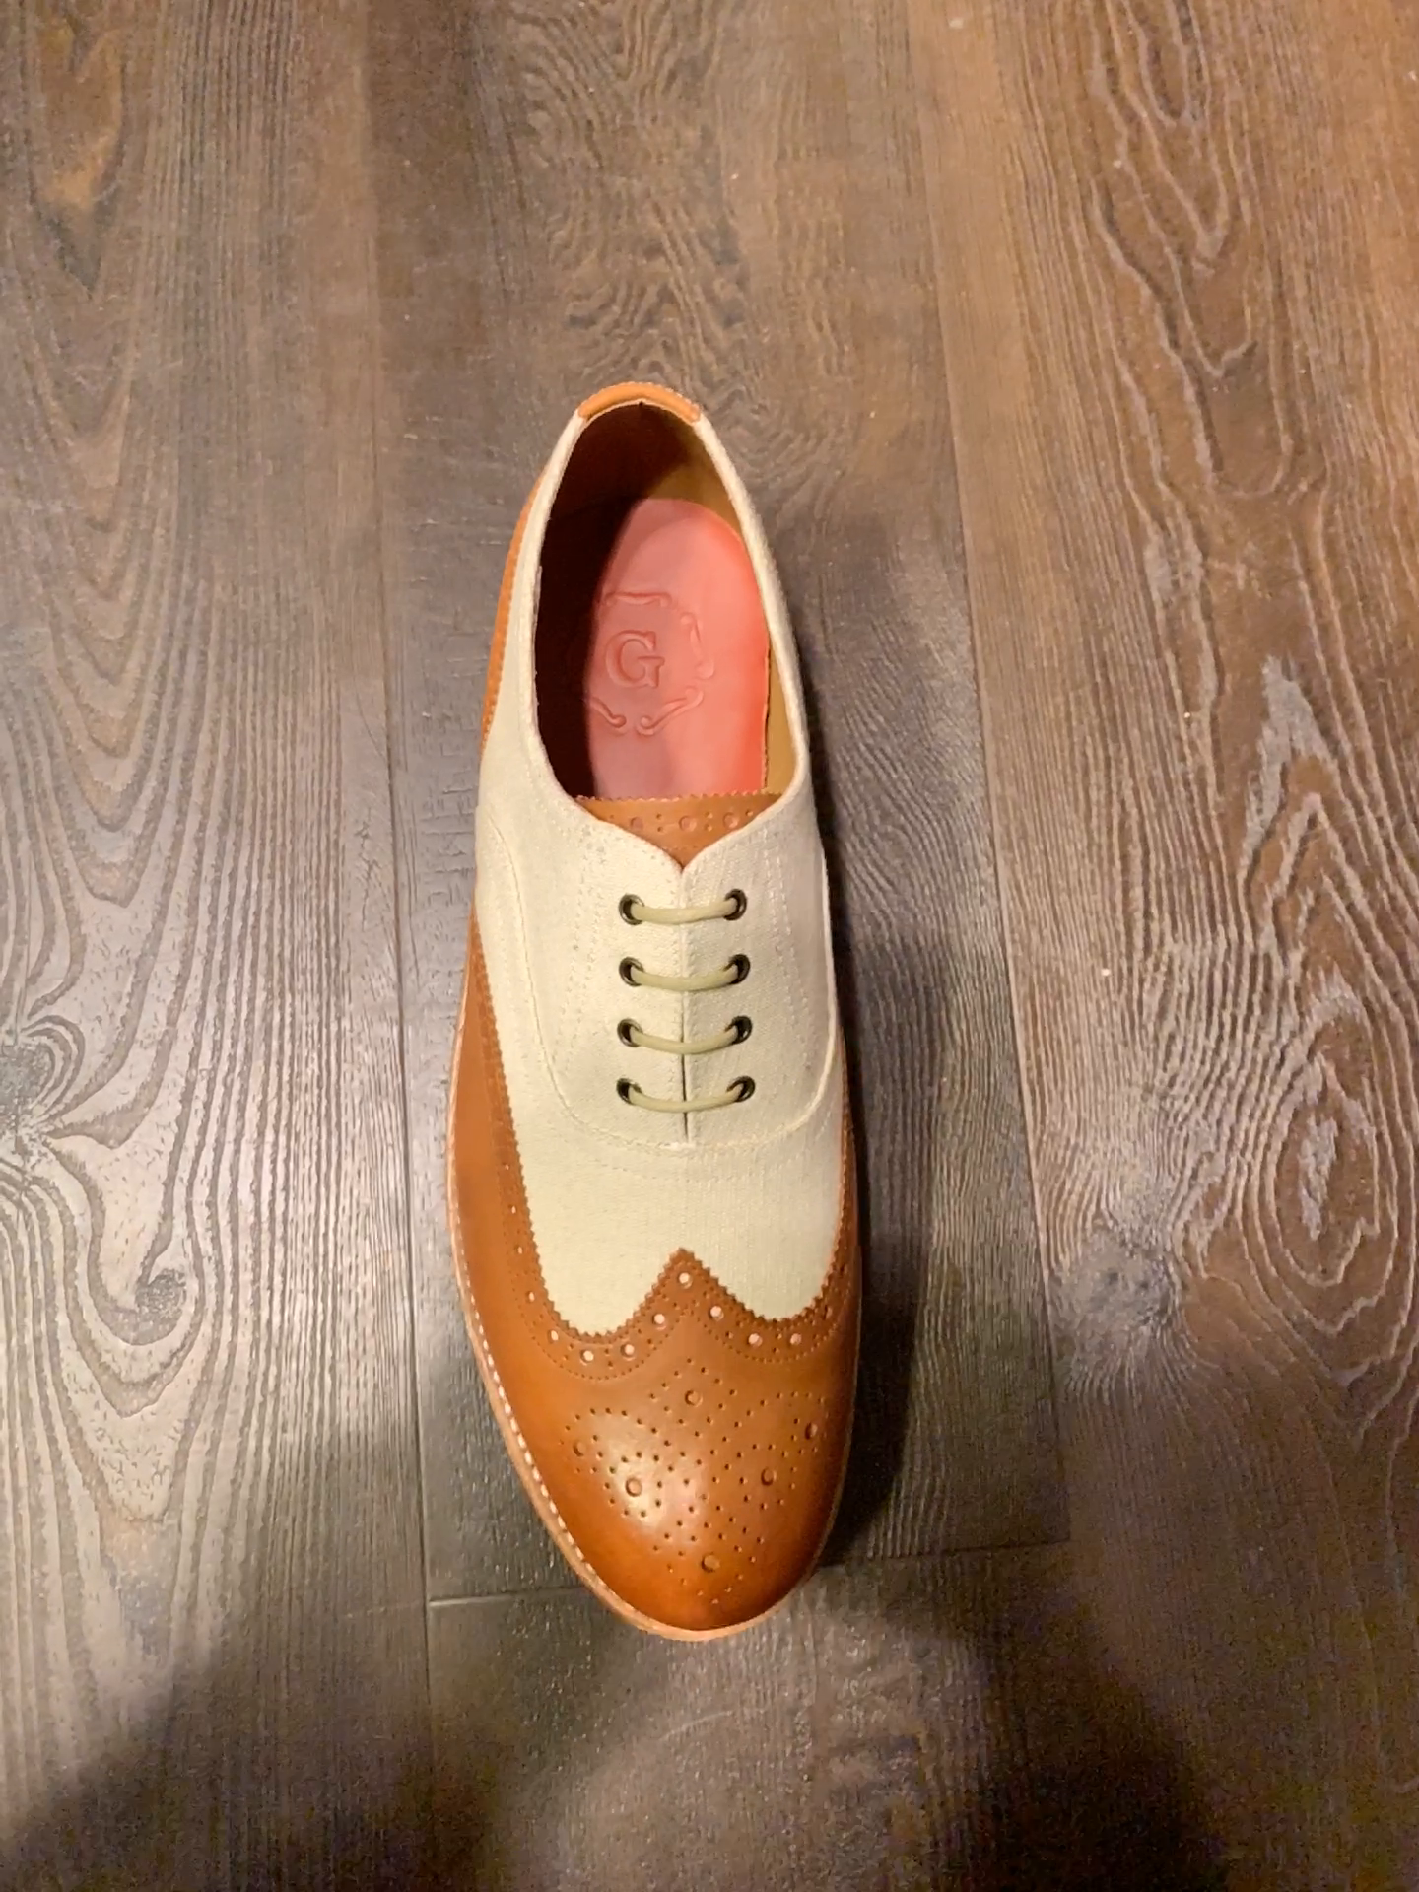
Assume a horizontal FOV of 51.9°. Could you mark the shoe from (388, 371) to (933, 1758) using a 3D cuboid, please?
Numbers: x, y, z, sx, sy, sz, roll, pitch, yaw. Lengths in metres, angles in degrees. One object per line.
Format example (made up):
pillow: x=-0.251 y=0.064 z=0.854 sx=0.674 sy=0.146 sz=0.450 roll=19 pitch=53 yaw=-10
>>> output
shoe: x=-0.017 y=0.022 z=0.378 sx=0.110 sy=0.120 sz=0.300 roll=-2 pitch=81 yaw=-3
